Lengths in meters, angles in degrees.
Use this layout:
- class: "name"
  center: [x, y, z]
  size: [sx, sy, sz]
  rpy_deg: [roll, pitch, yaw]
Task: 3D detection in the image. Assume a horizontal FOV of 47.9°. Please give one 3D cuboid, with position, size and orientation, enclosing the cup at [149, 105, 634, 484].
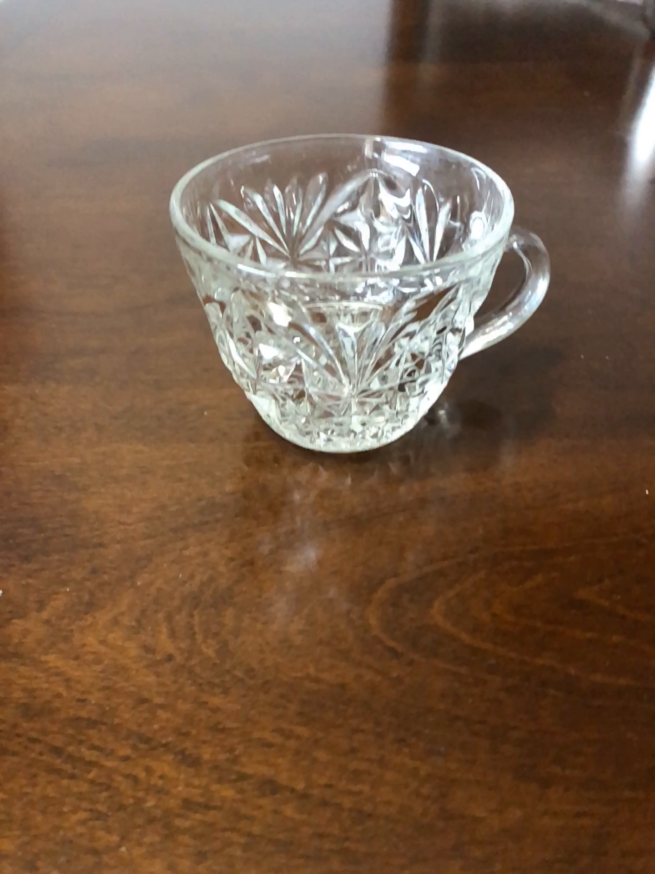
- class: "cup"
  center: [0.010, -0.042, 0.196]
  size: [0.100, 0.060, 0.070]
  rpy_deg: [-10, 41, -9]
